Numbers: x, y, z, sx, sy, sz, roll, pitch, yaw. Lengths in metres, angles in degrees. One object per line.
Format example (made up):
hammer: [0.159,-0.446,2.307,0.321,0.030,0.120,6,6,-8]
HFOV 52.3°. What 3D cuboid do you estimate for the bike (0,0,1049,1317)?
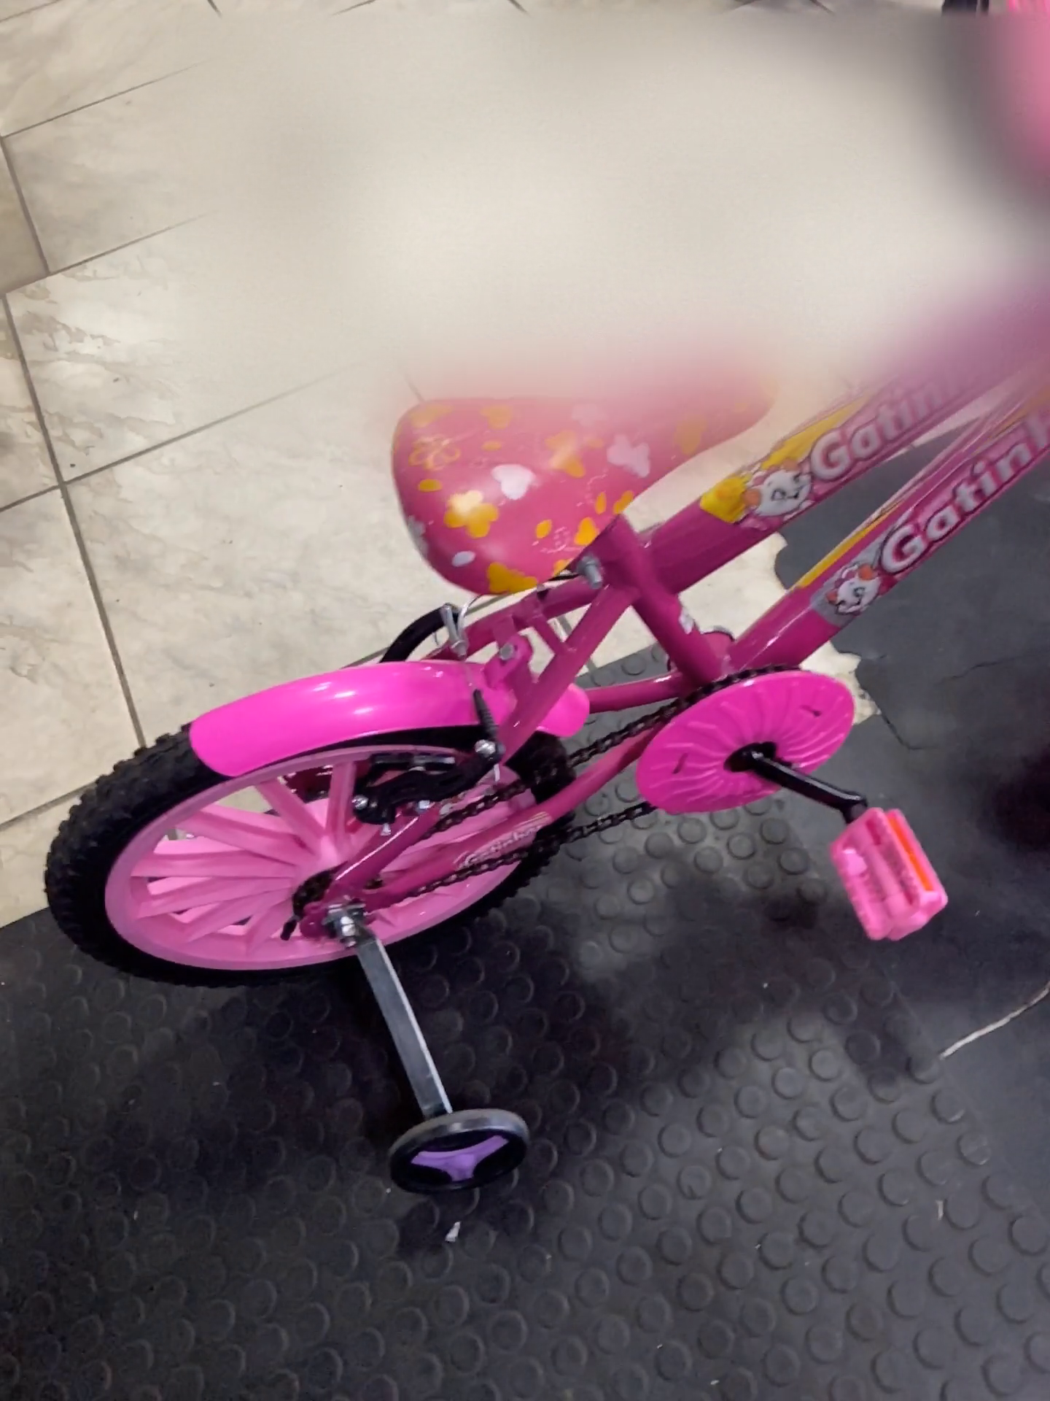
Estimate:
bike: [0.086,-0.123,0.679,0.939,0.790,0.467,-24,57,-8]
